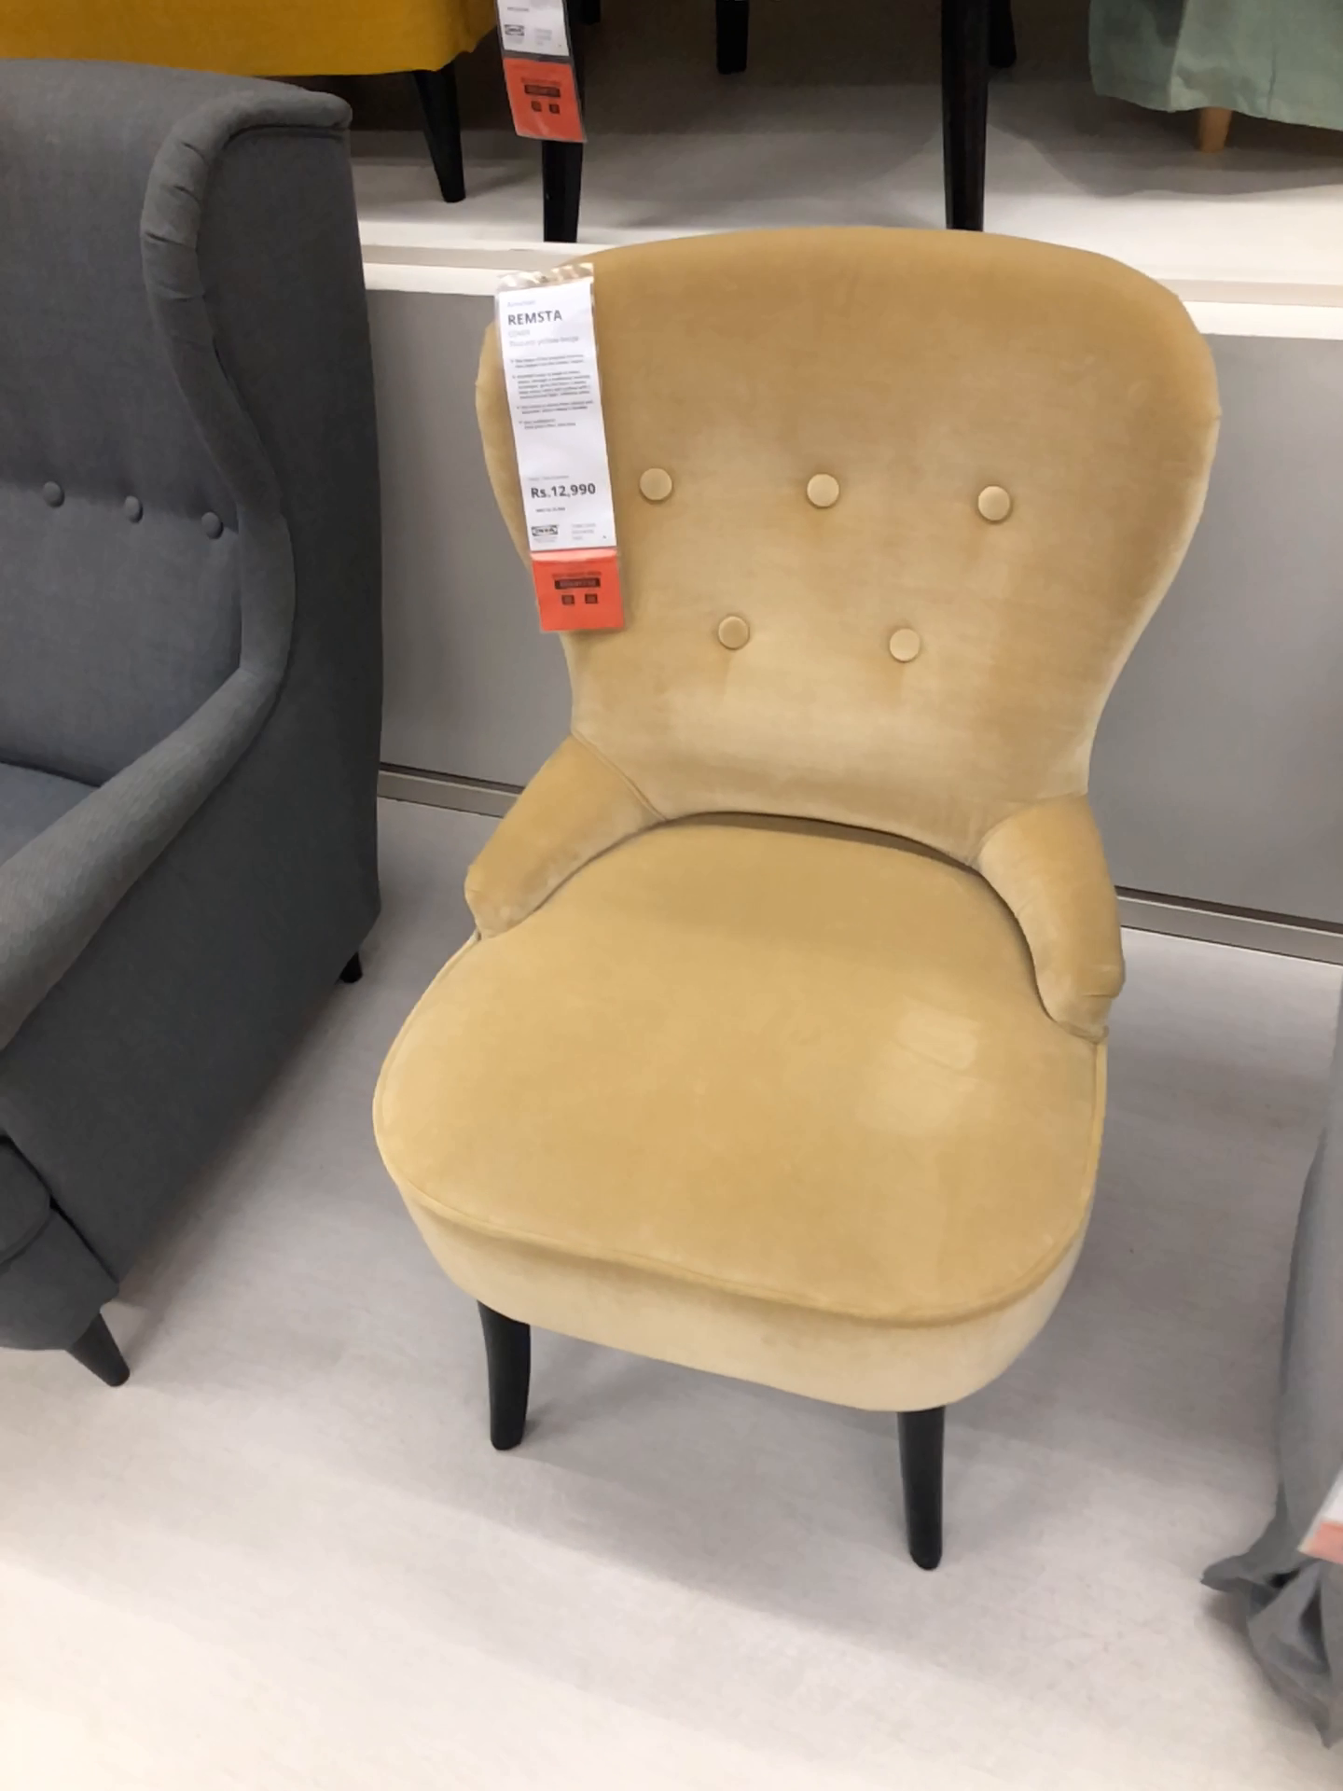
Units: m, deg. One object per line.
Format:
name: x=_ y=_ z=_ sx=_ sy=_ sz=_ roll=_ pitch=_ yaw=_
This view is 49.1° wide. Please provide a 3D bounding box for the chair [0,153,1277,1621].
chair: x=0.066 y=0.006 z=1.141 sx=0.581 sy=0.864 sz=0.644 roll=9 pitch=49 yaw=17
